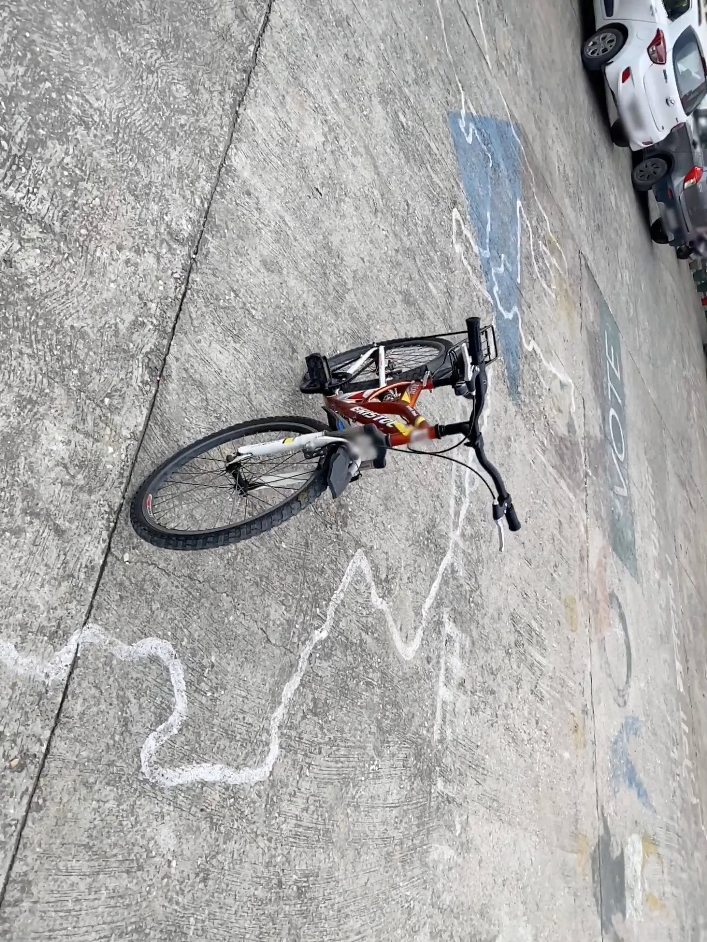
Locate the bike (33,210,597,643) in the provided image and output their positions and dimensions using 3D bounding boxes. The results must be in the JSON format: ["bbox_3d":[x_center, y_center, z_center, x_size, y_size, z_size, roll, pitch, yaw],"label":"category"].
[{"bbox_3d":[0.063,-0.209,2.185,1.519,0.977,0.585,-49,123,-52],"label":"bike"}]
